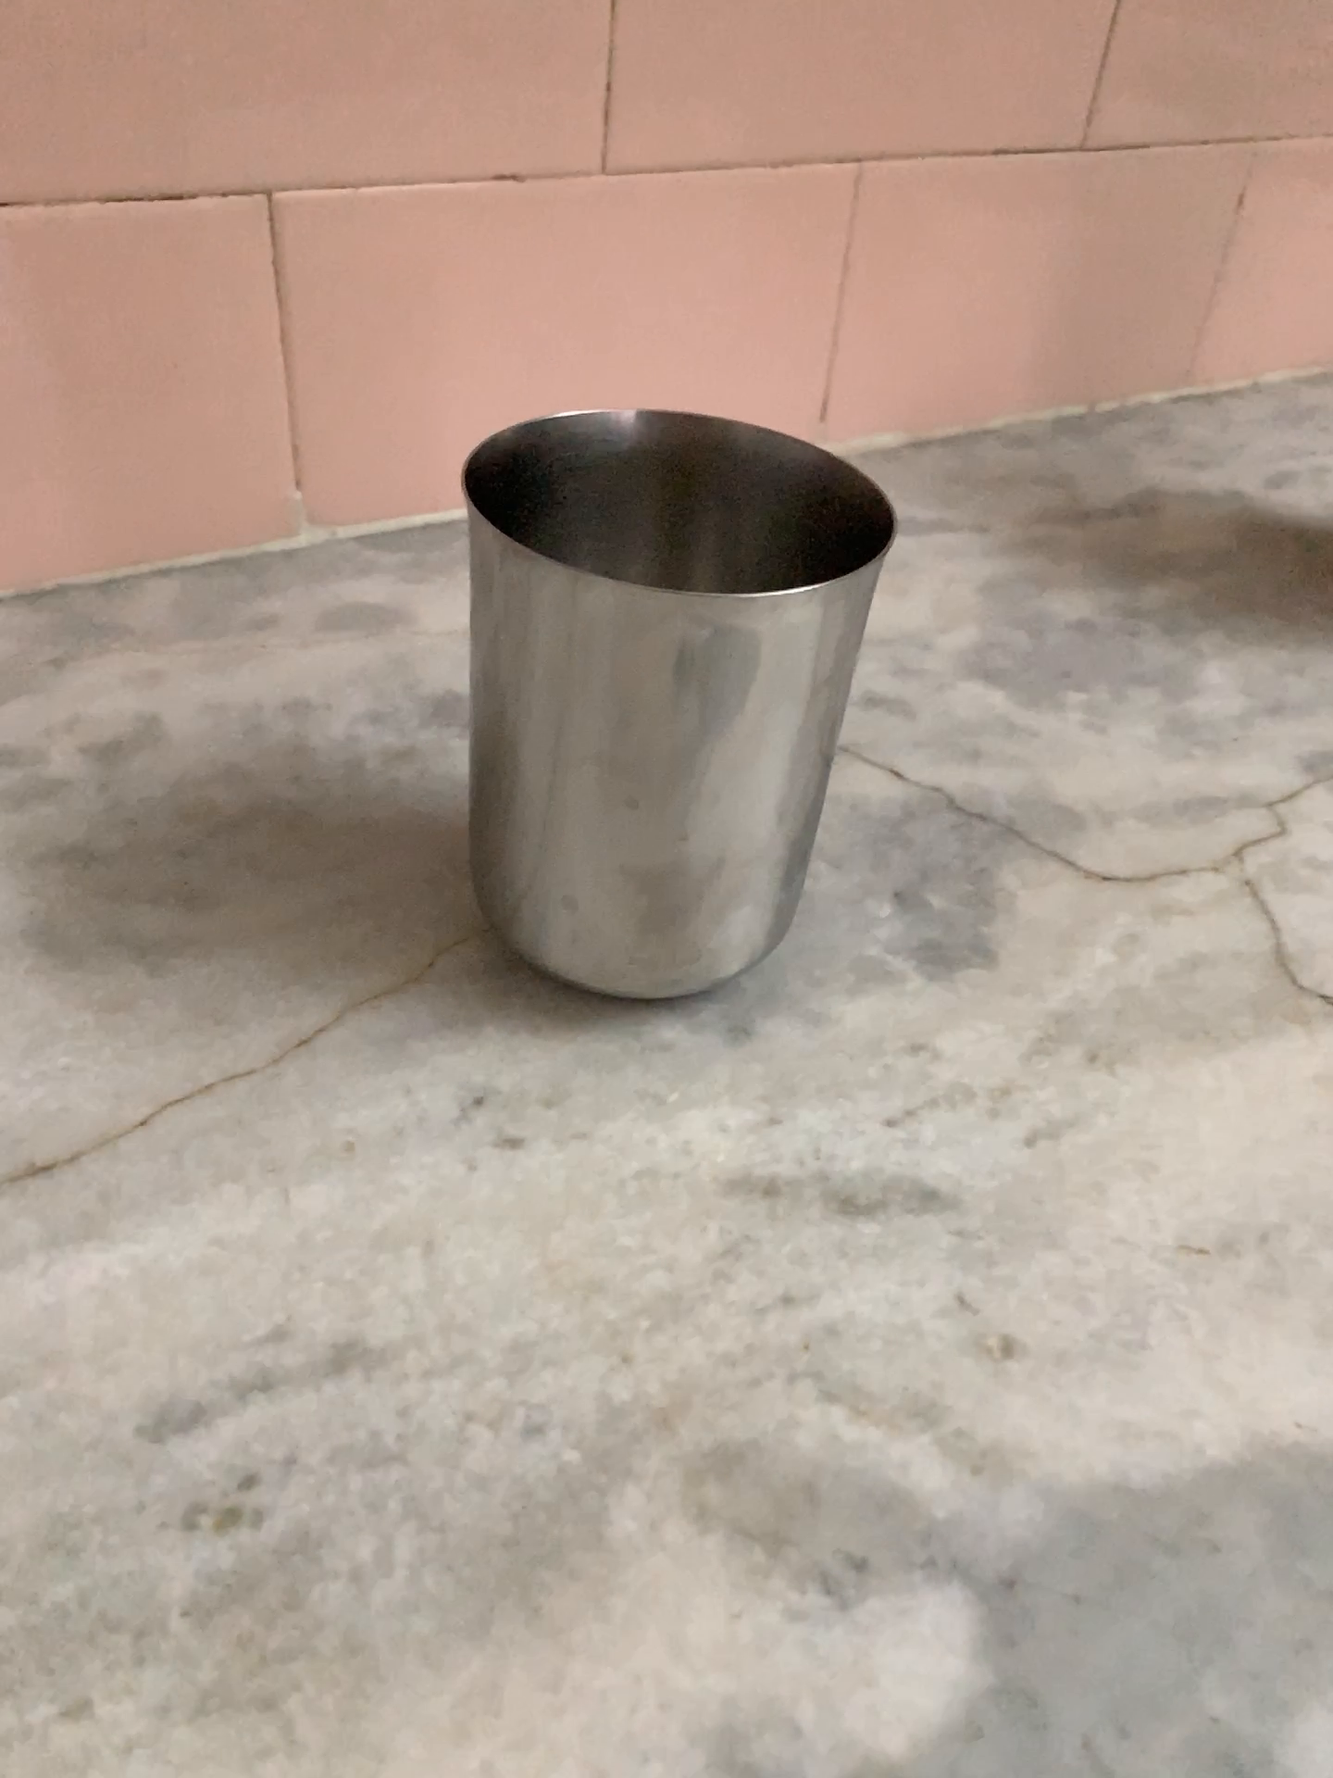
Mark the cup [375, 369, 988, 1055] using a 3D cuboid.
[{"bbox_3d":[-0.005,-0.036,0.255,0.080,0.090,0.080,4,39,-3],"label":"cup"}]
